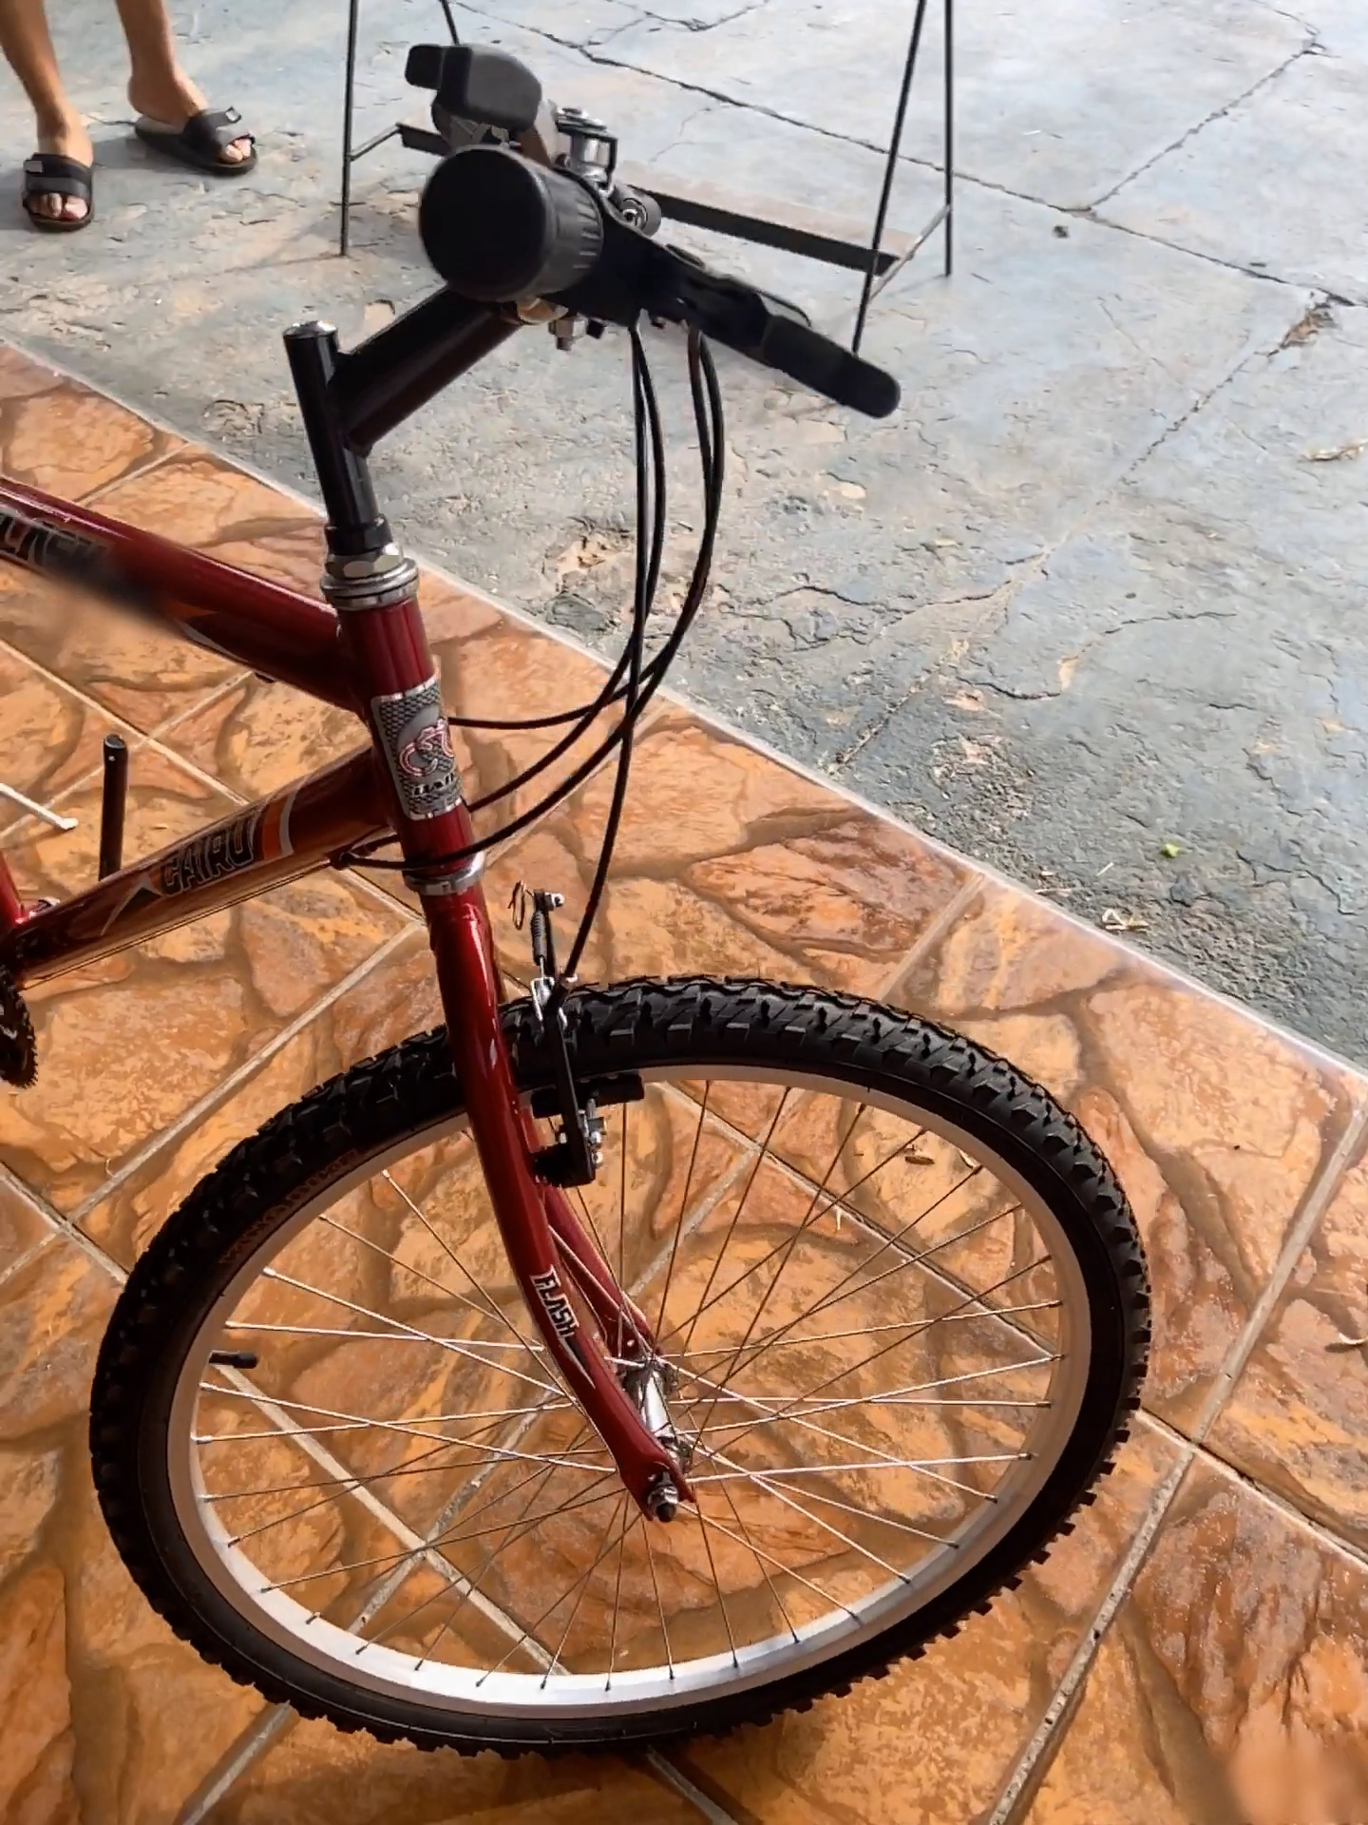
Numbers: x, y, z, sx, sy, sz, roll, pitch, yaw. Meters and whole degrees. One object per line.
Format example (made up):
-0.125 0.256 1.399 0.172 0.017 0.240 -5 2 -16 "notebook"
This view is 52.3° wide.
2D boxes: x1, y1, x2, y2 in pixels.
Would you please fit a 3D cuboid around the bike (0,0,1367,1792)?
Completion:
-0.346 -0.170 1.033 1.557 0.986 0.601 26 56 17 "bike"
